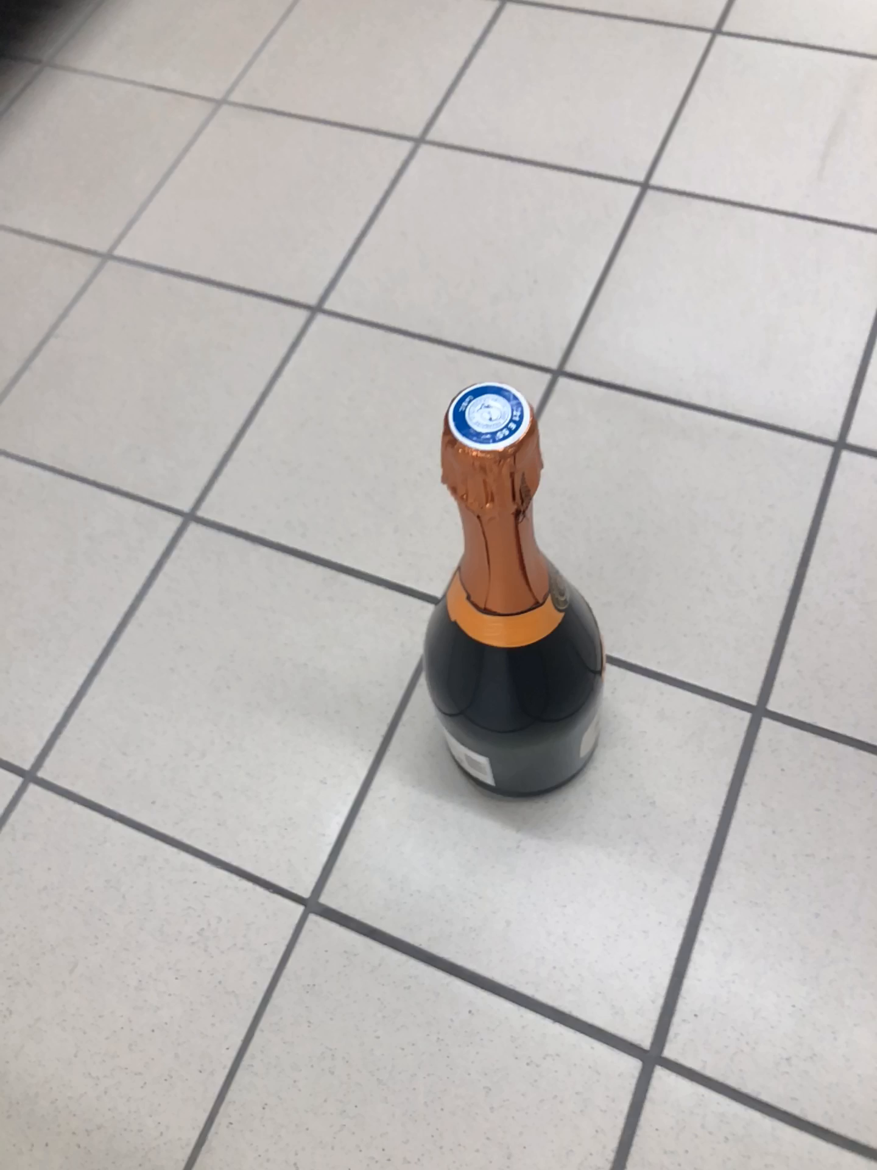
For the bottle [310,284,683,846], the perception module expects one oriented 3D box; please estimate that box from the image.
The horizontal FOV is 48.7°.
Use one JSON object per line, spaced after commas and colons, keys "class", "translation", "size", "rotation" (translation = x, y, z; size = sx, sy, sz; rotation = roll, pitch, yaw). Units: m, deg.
{"class": "bottle", "translation": [0.032, 0.022, 0.454], "size": [0.100, 0.309, 0.100], "rotation": [-3, 61, 6]}
